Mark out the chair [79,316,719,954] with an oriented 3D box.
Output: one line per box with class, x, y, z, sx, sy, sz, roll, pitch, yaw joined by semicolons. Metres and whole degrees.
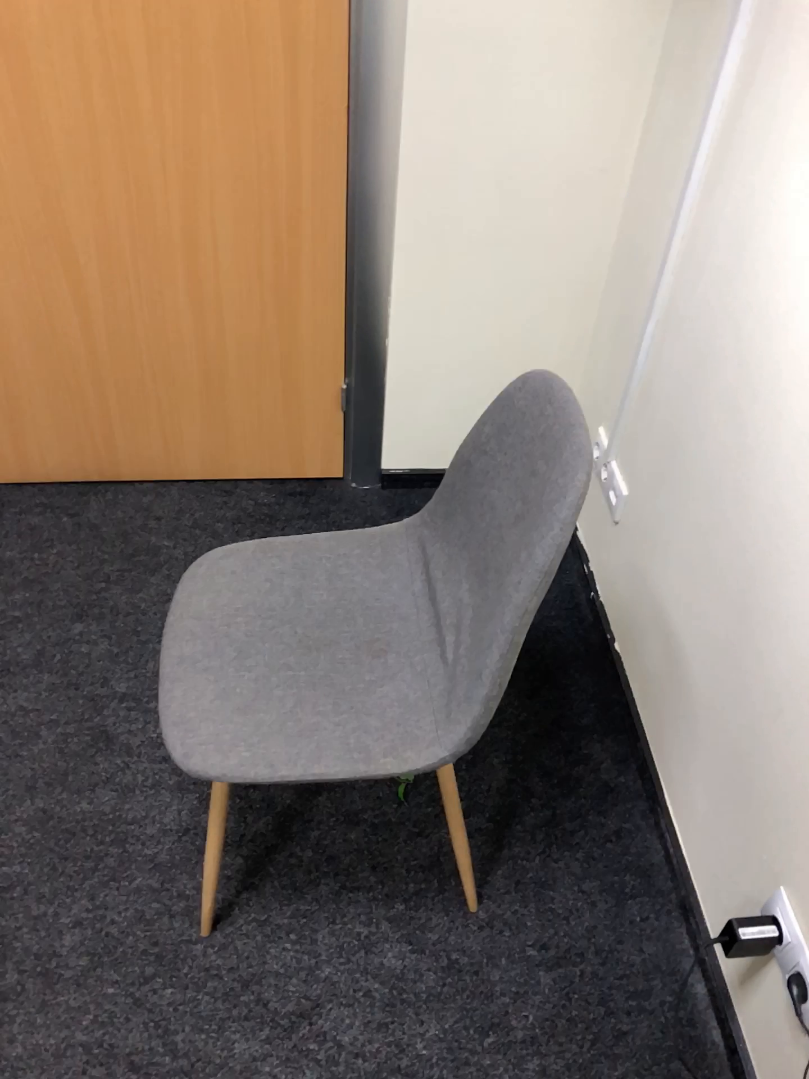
chair;-0.046;0.158;1.254;0.600;0.785;0.473;-3;44;-8
